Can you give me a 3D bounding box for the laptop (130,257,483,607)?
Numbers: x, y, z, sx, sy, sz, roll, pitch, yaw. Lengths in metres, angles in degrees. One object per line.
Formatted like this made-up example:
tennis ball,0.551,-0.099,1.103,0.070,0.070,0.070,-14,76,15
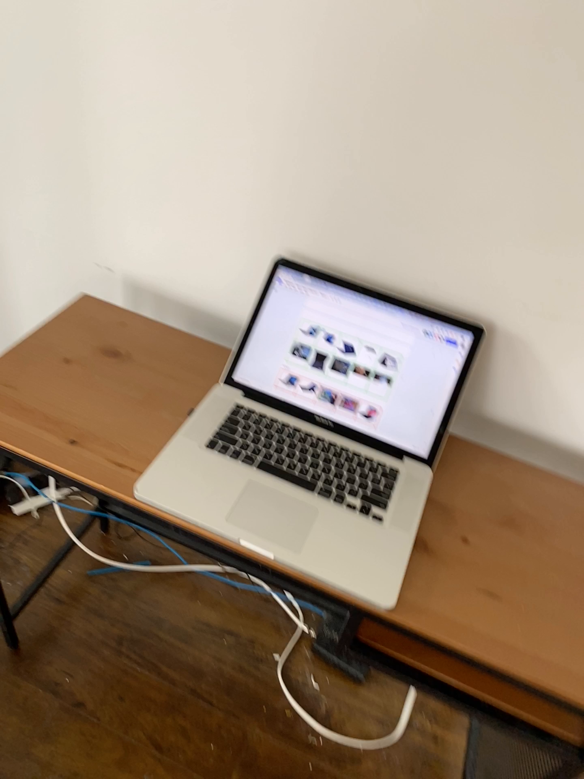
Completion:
laptop,0.047,0.021,0.877,0.367,0.151,0.441,21,43,11
